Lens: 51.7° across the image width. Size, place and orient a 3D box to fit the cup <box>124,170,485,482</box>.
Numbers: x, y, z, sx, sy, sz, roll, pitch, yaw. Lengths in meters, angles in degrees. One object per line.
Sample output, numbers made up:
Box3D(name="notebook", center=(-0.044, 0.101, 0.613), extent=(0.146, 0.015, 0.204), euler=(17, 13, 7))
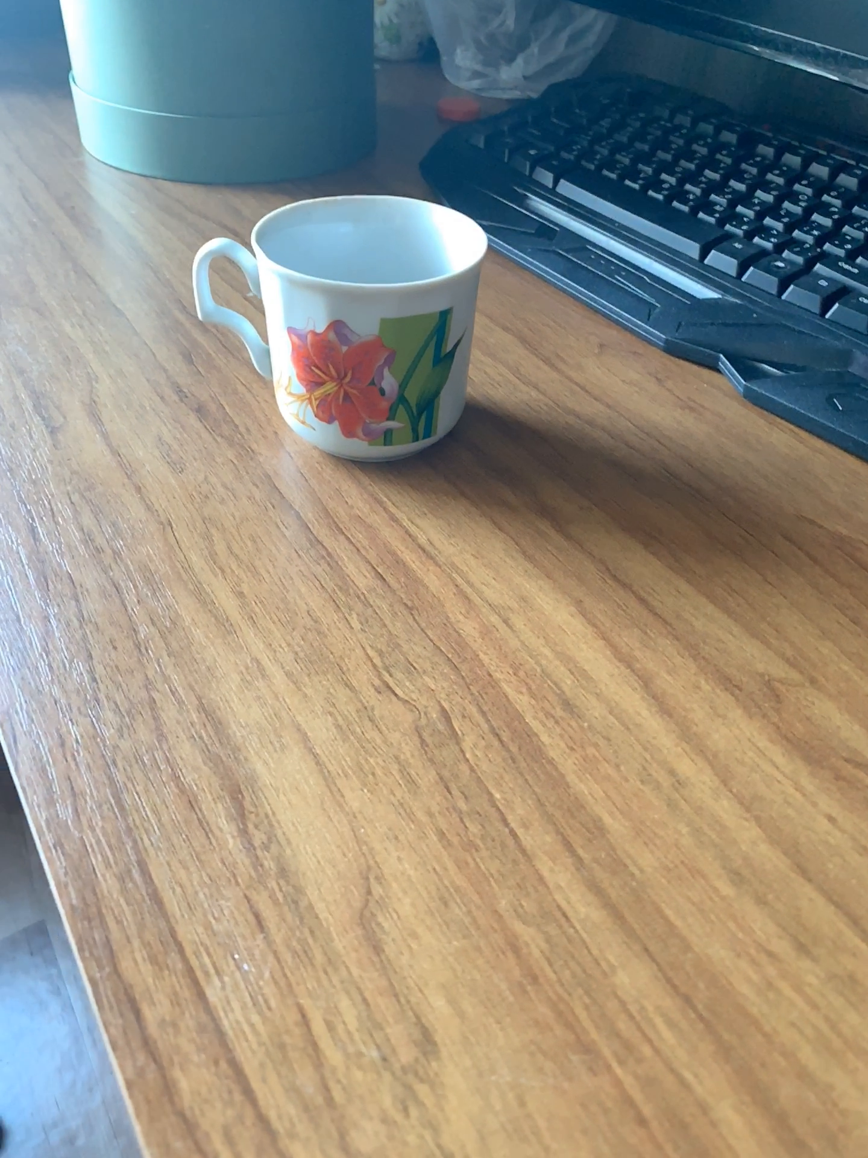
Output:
Box3D(name="cup", center=(-0.040, -0.092, 0.325), extent=(0.110, 0.080, 0.070), euler=(4, 41, 0))
